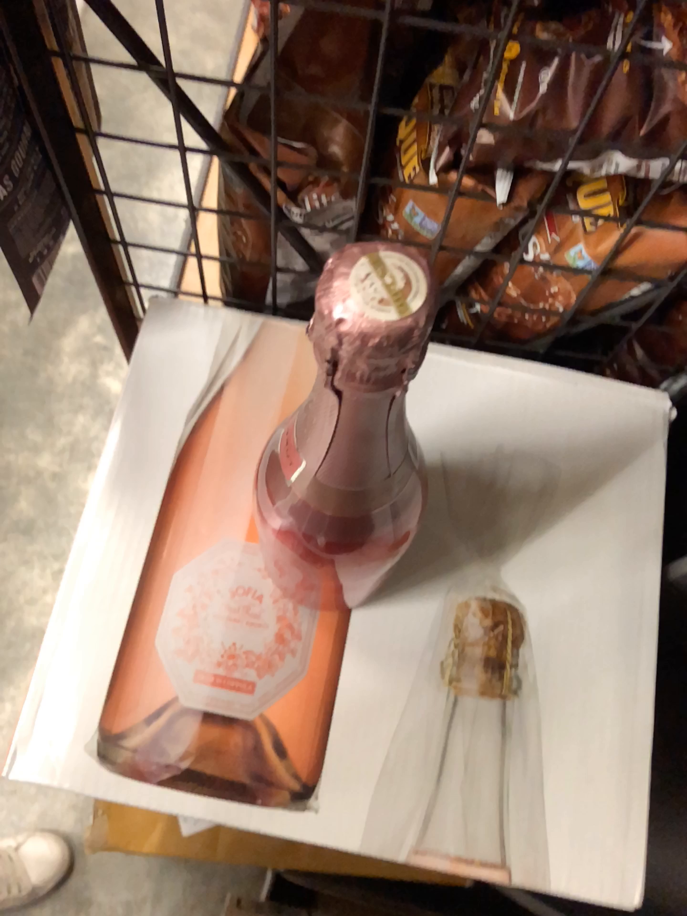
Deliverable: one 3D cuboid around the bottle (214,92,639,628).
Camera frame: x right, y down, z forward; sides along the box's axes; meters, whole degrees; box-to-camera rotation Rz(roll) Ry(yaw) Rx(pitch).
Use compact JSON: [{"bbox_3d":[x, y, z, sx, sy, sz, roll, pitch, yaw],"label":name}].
[{"bbox_3d":[0.005,0.000,0.336,0.090,0.310,0.090,2,69,-5],"label":"bottle"}]
